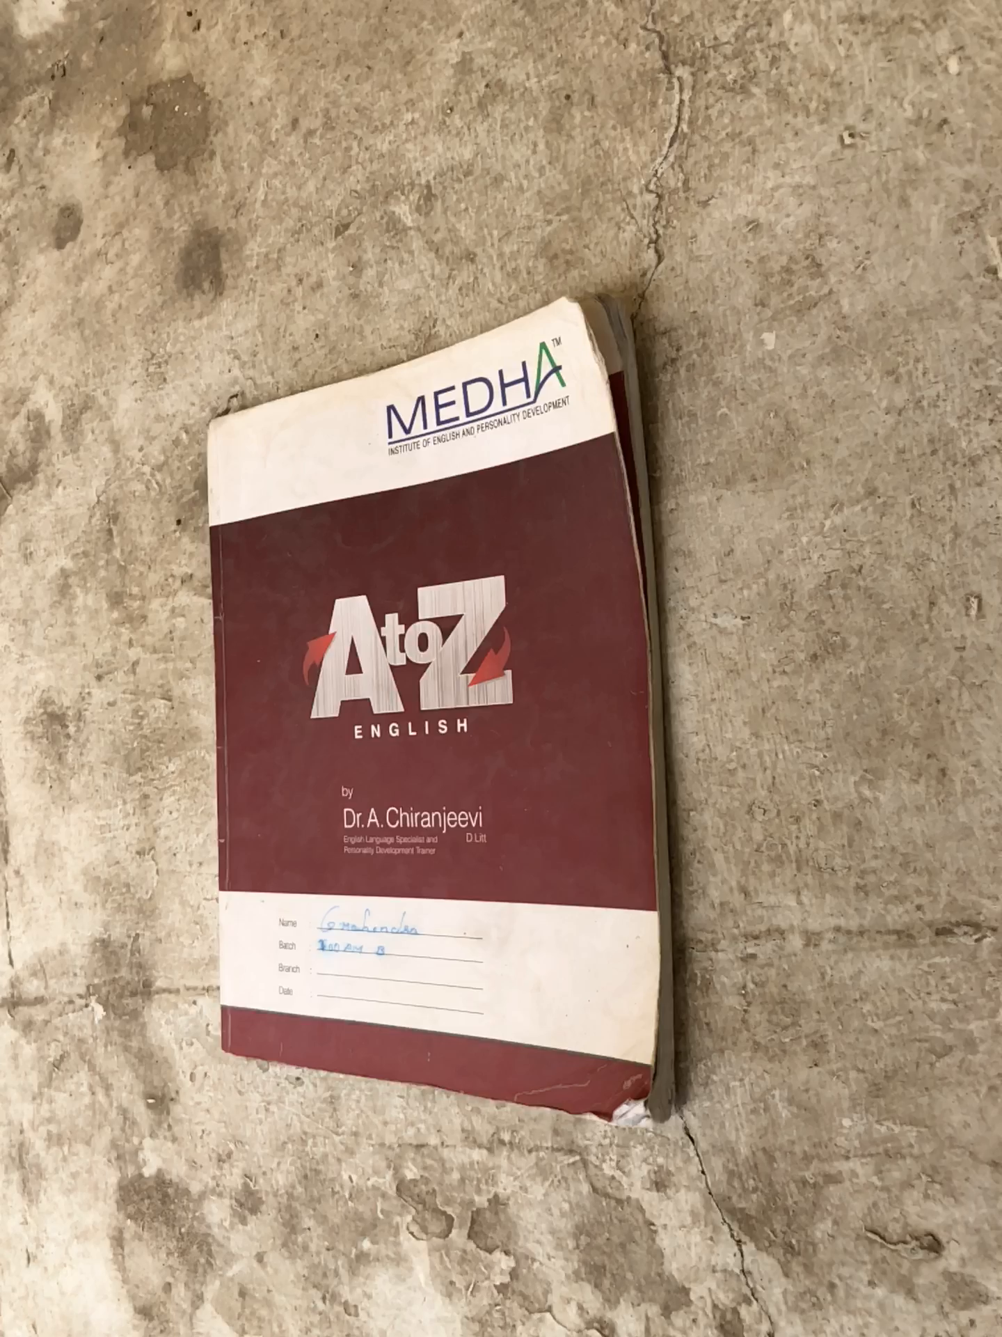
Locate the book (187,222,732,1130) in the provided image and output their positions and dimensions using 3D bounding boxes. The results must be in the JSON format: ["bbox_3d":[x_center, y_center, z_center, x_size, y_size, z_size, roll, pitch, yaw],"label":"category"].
[{"bbox_3d":[-0.031,0.006,0.415,0.221,0.030,0.280,-6,83,34],"label":"book"}]
